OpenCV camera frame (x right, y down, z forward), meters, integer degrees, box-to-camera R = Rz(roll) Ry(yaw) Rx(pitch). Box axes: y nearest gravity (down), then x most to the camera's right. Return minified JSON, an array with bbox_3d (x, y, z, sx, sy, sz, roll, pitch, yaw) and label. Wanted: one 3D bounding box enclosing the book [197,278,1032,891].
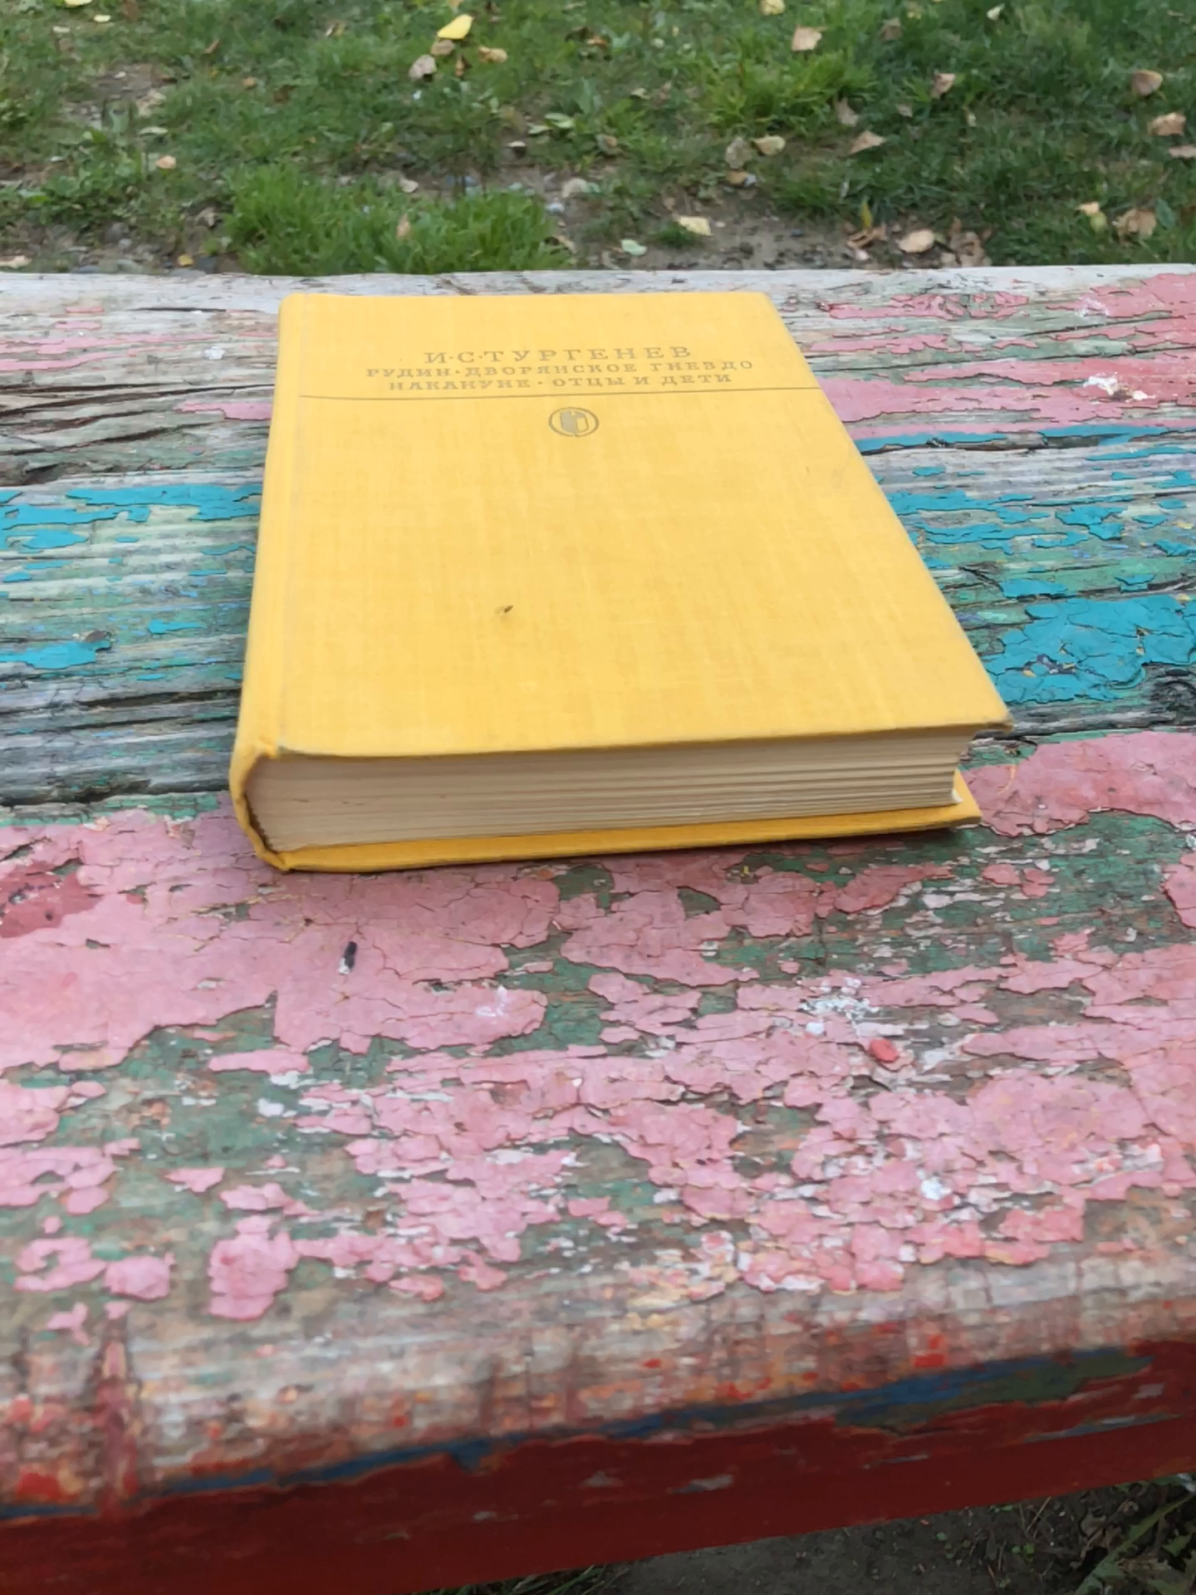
[{"bbox_3d":[-0.009,-0.071,0.329,0.153,0.032,0.218,-3,43,-8],"label":"book"}]
